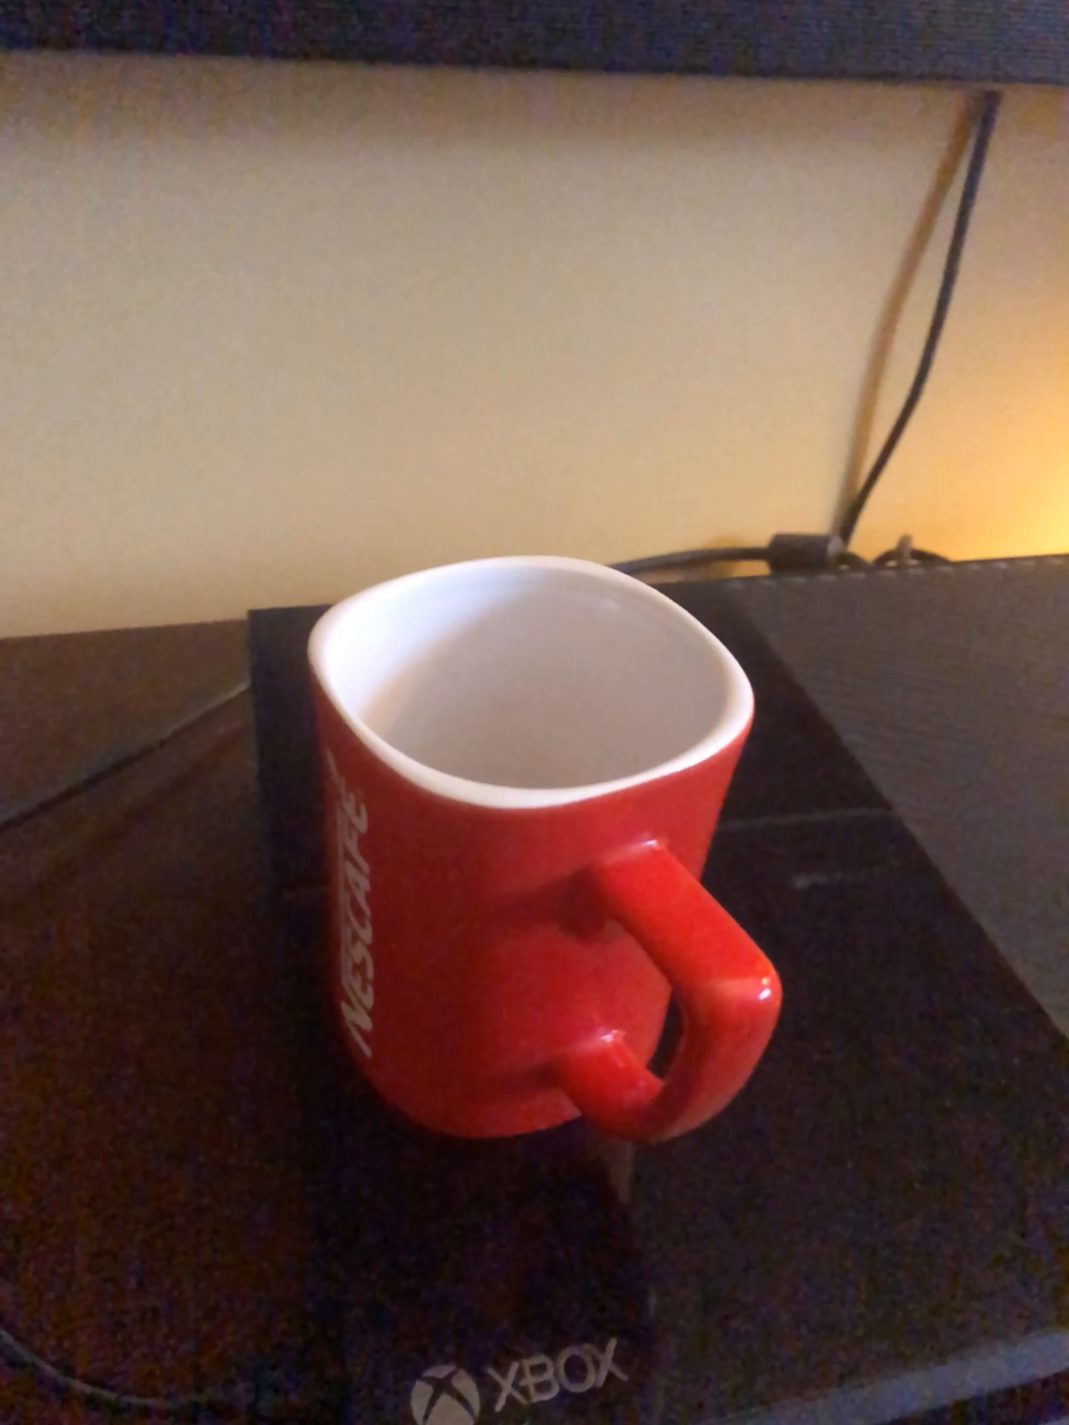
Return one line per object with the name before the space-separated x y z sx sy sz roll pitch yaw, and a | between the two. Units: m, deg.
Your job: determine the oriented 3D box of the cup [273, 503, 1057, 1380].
cup | 0.012 0.031 0.221 0.080 0.089 0.111 -16 41 -27
